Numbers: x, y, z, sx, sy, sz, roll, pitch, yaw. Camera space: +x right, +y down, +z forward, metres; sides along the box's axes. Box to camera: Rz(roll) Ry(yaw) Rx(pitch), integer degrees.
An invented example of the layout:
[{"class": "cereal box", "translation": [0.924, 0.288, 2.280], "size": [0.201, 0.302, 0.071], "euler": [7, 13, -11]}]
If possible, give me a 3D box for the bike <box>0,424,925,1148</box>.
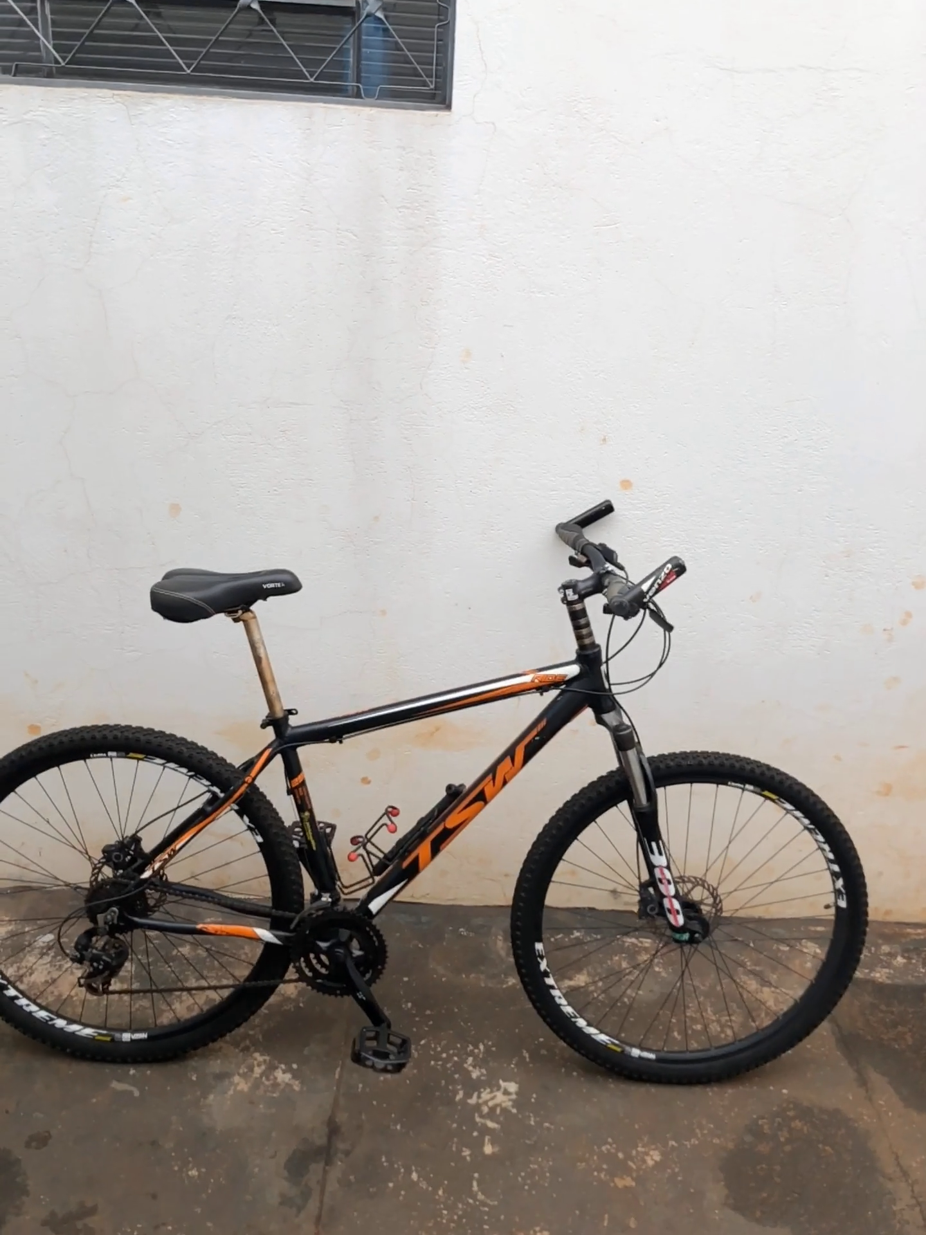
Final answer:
[{"class": "bike", "translation": [-0.100, 0.288, 1.922], "size": [1.763, 1.085, 0.726], "euler": [2, 23, -3]}]
